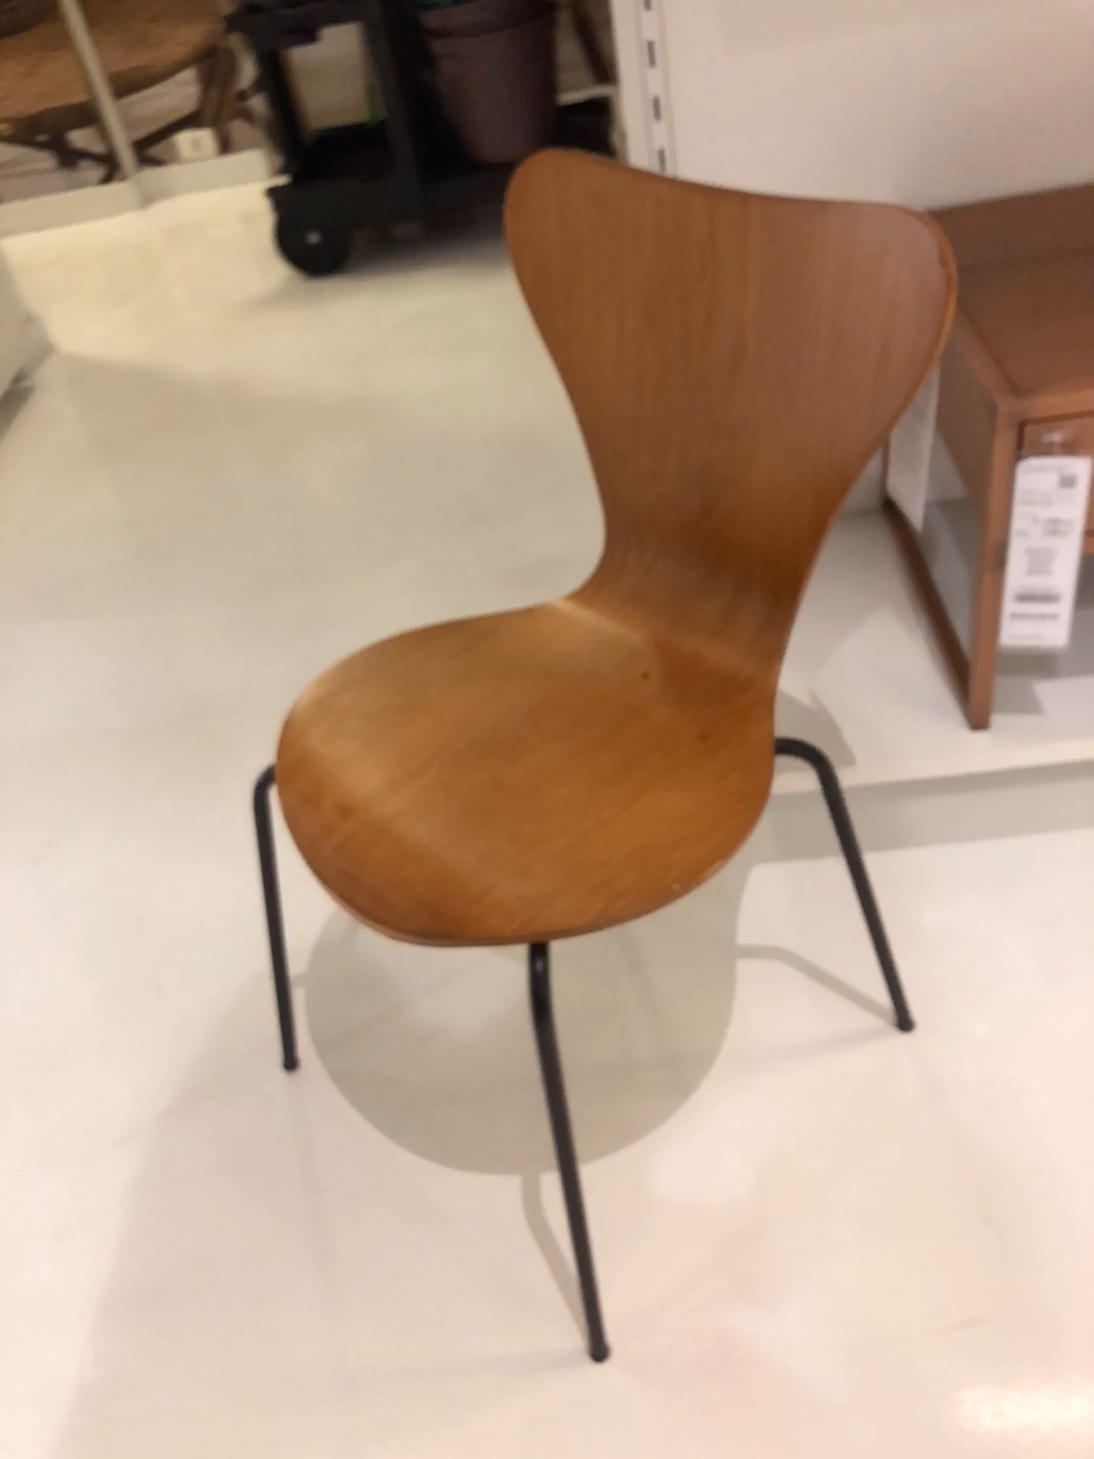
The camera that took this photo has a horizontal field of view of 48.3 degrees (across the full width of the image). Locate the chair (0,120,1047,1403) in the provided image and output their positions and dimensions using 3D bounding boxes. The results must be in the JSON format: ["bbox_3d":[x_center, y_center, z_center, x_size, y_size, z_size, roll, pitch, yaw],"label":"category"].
[{"bbox_3d":[-0.007,0.009,1.061,0.572,0.794,0.543,-38,47,-27],"label":"chair"}]
